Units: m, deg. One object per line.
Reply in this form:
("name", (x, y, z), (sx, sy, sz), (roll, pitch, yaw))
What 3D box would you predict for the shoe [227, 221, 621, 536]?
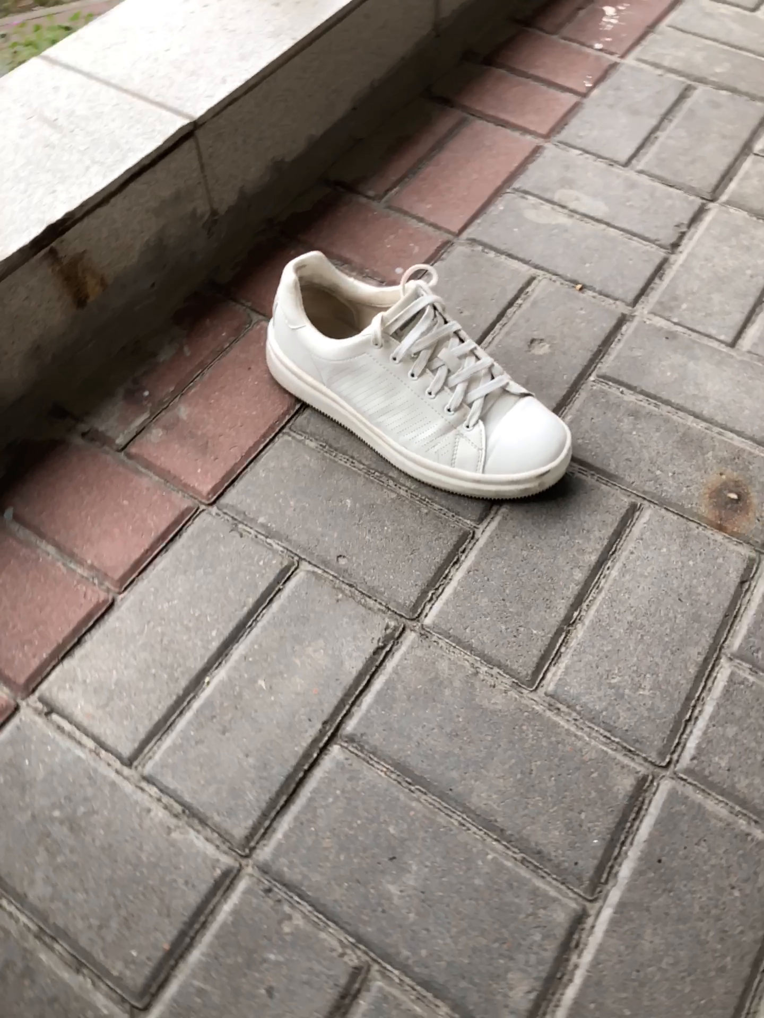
("shoe", (0.028, -0.115, 0.699), (0.292, 0.119, 0.110), (27, 58, 20))
